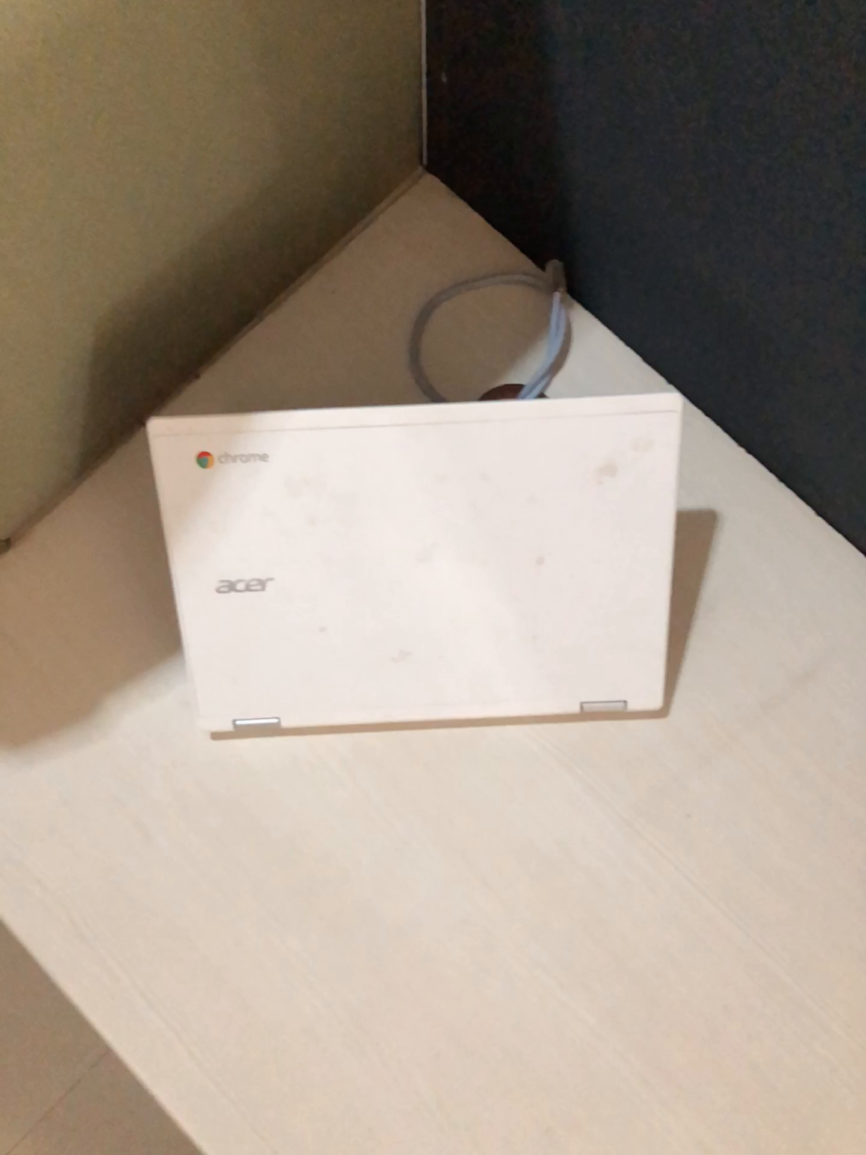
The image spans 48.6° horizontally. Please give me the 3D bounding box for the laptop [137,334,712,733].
[{"bbox_3d":[-0.009,-0.016,0.546,0.285,0.115,0.187,-3,79,0],"label":"laptop"}]
